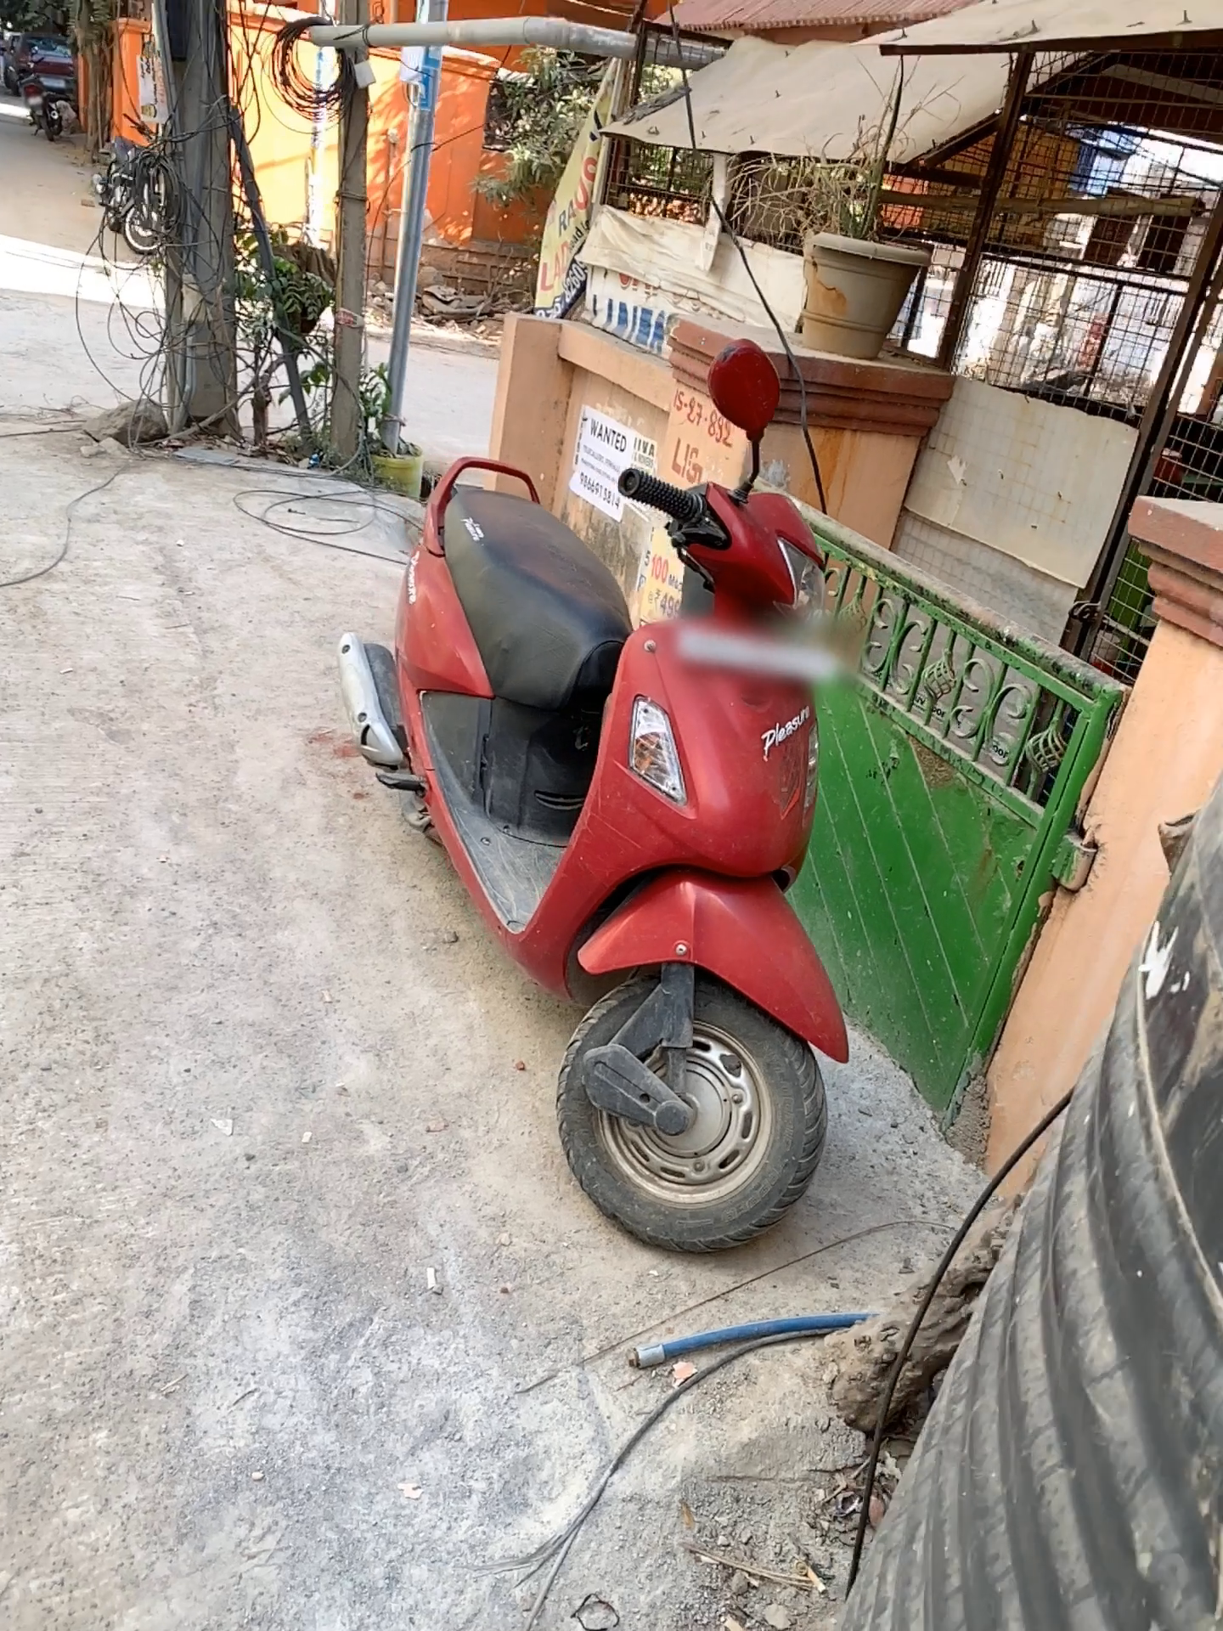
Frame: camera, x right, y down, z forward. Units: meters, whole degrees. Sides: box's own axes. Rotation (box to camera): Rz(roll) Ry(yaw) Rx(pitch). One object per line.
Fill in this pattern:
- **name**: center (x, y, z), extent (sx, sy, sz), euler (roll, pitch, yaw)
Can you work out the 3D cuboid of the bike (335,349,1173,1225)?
- **bike**: center (0.072, -0.161, 2.146), extent (0.618, 0.916, 1.275), euler (-6, 31, -30)
